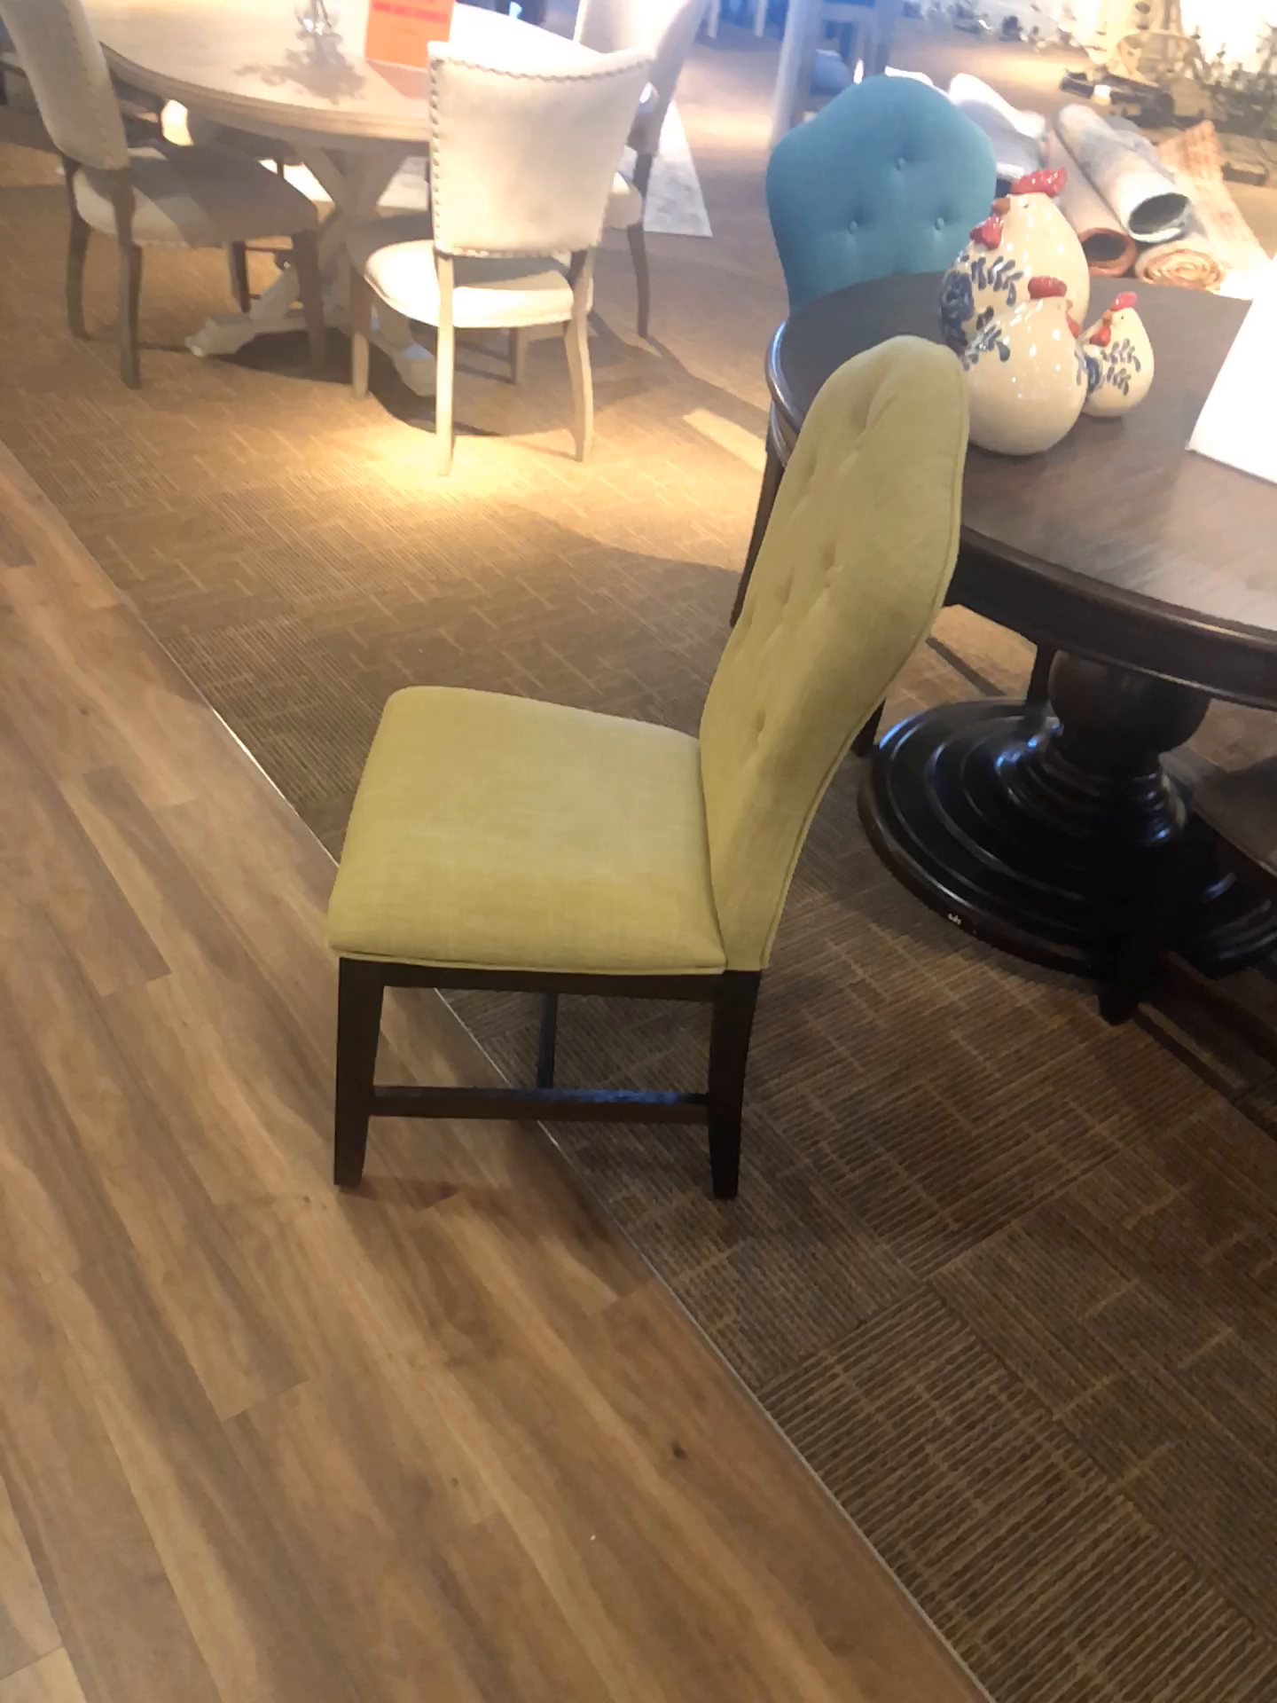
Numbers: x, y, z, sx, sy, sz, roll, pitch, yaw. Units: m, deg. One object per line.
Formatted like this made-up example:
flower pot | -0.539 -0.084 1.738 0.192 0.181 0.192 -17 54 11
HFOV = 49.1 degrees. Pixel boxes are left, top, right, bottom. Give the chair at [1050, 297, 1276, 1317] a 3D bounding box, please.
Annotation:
chair | 1.035 -0.065 1.687 0.509 0.950 0.637 -15 43 -27

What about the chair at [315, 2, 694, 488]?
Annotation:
chair | -0.360 -1.498 3.465 0.699 0.940 0.577 -12 42 -24

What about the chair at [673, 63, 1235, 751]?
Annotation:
chair | 0.477 -0.776 2.453 0.519 0.960 0.577 -13 42 -24

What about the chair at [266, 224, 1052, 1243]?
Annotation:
chair | -0.030 -0.095 1.598 0.615 0.979 0.541 4 38 -4
